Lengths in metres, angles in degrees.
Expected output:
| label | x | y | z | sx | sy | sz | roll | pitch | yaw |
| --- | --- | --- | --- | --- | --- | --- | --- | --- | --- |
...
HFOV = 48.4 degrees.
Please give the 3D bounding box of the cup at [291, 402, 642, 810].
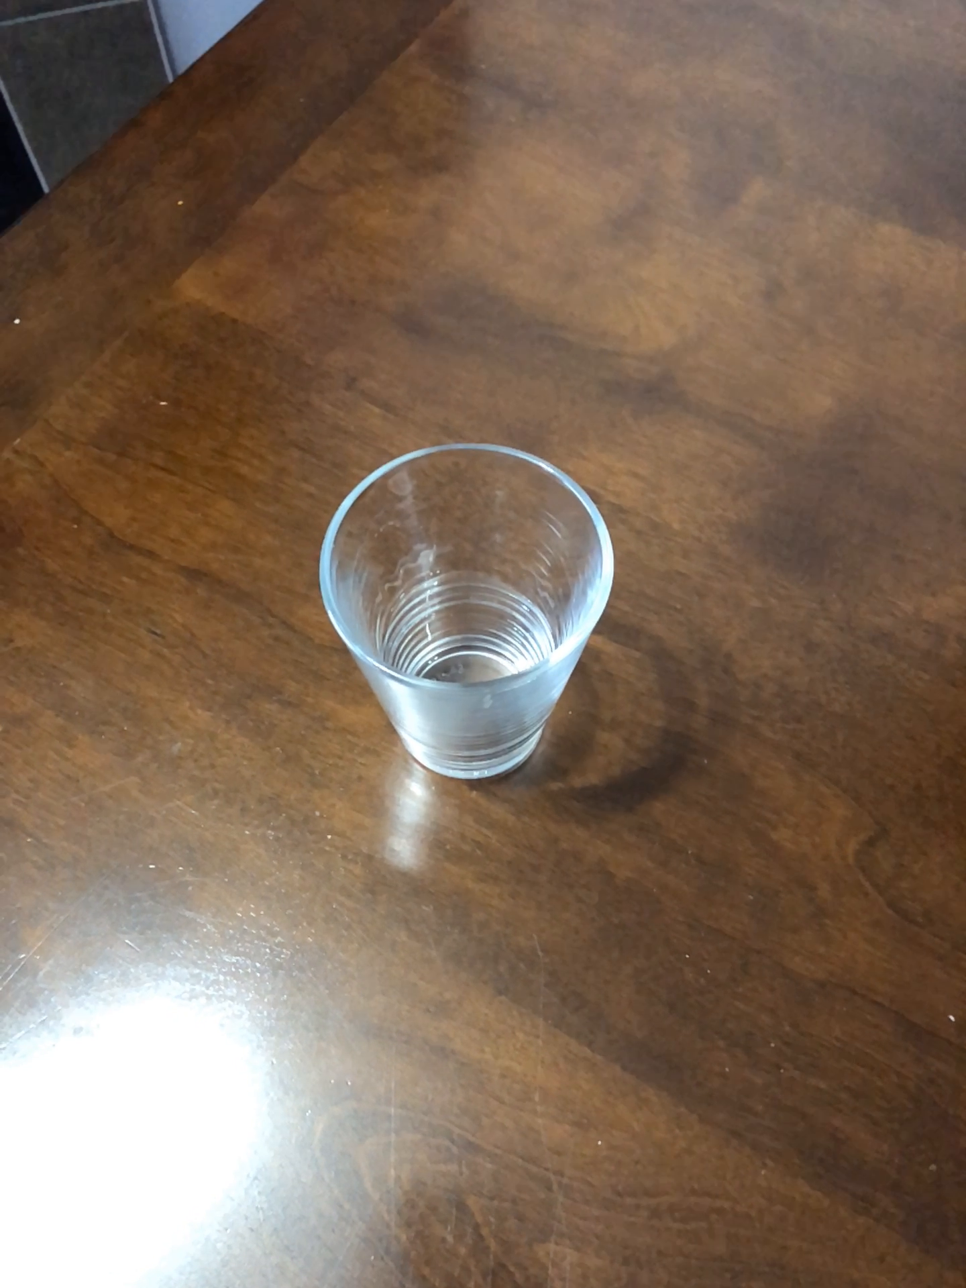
| label | x | y | z | sx | sy | sz | roll | pitch | yaw |
| --- | --- | --- | --- | --- | --- | --- | --- | --- | --- |
| cup | -0.007 | -0.007 | 0.328 | 0.080 | 0.100 | 0.070 | -11 | 62 | -6 |
